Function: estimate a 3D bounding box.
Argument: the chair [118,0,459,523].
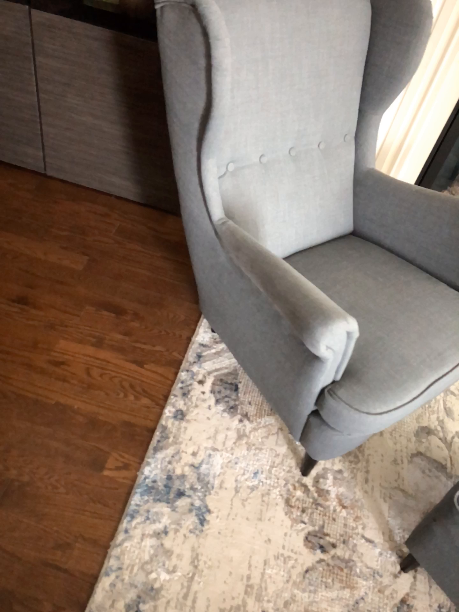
[{"bbox_3d":[0.286,-0.208,1.301,0.802,0.967,0.851,-24,57,-31],"label":"chair"}]
